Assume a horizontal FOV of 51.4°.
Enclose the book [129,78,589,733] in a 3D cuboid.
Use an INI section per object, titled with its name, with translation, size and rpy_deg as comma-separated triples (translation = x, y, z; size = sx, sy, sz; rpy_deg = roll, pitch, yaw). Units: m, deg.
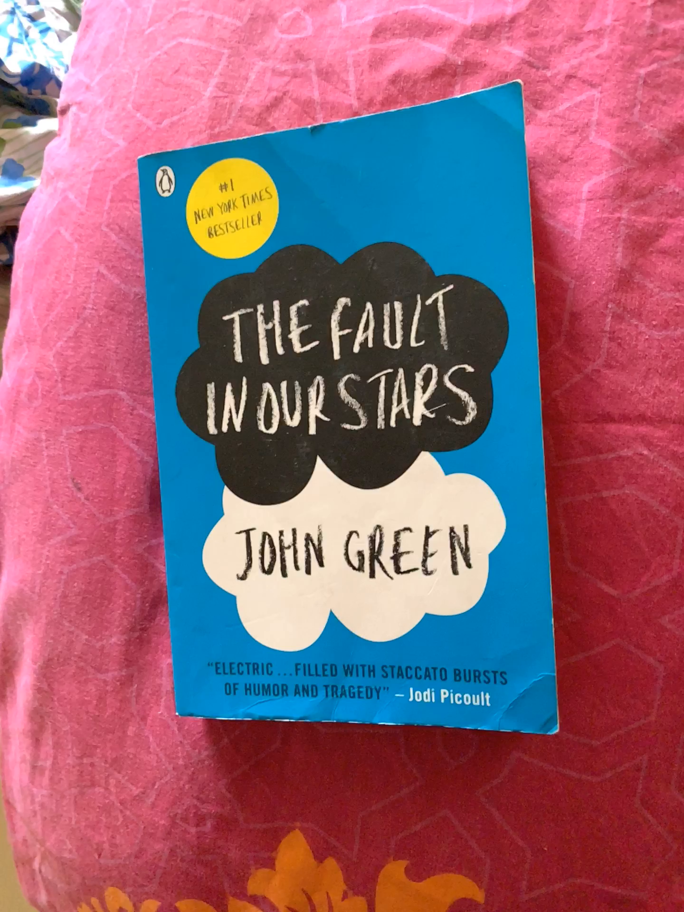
[book]
translation = 0.002, -0.011, 0.224
size = 0.130, 0.030, 0.179
rpy_deg = -4, 87, 15
